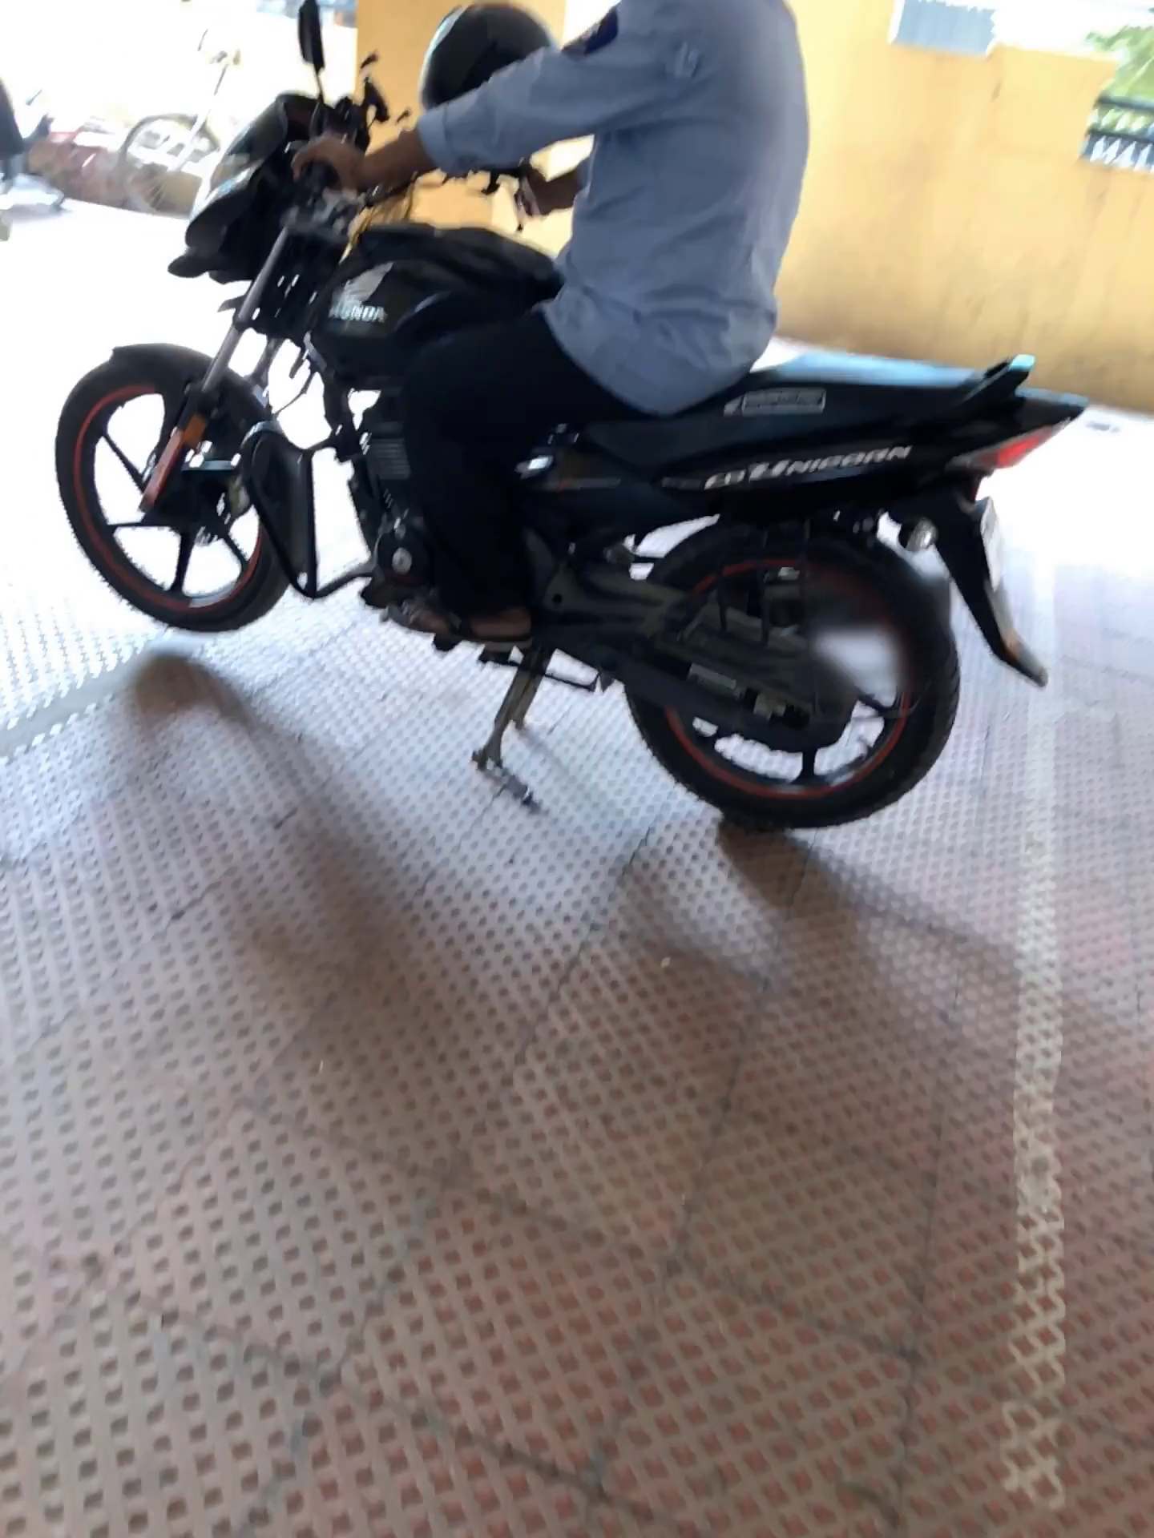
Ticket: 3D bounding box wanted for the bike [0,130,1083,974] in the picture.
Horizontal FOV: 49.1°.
[{"bbox_3d":[-0.183,-0.527,2.400,1.882,1.009,0.791,17,30,16],"label":"bike"}]
